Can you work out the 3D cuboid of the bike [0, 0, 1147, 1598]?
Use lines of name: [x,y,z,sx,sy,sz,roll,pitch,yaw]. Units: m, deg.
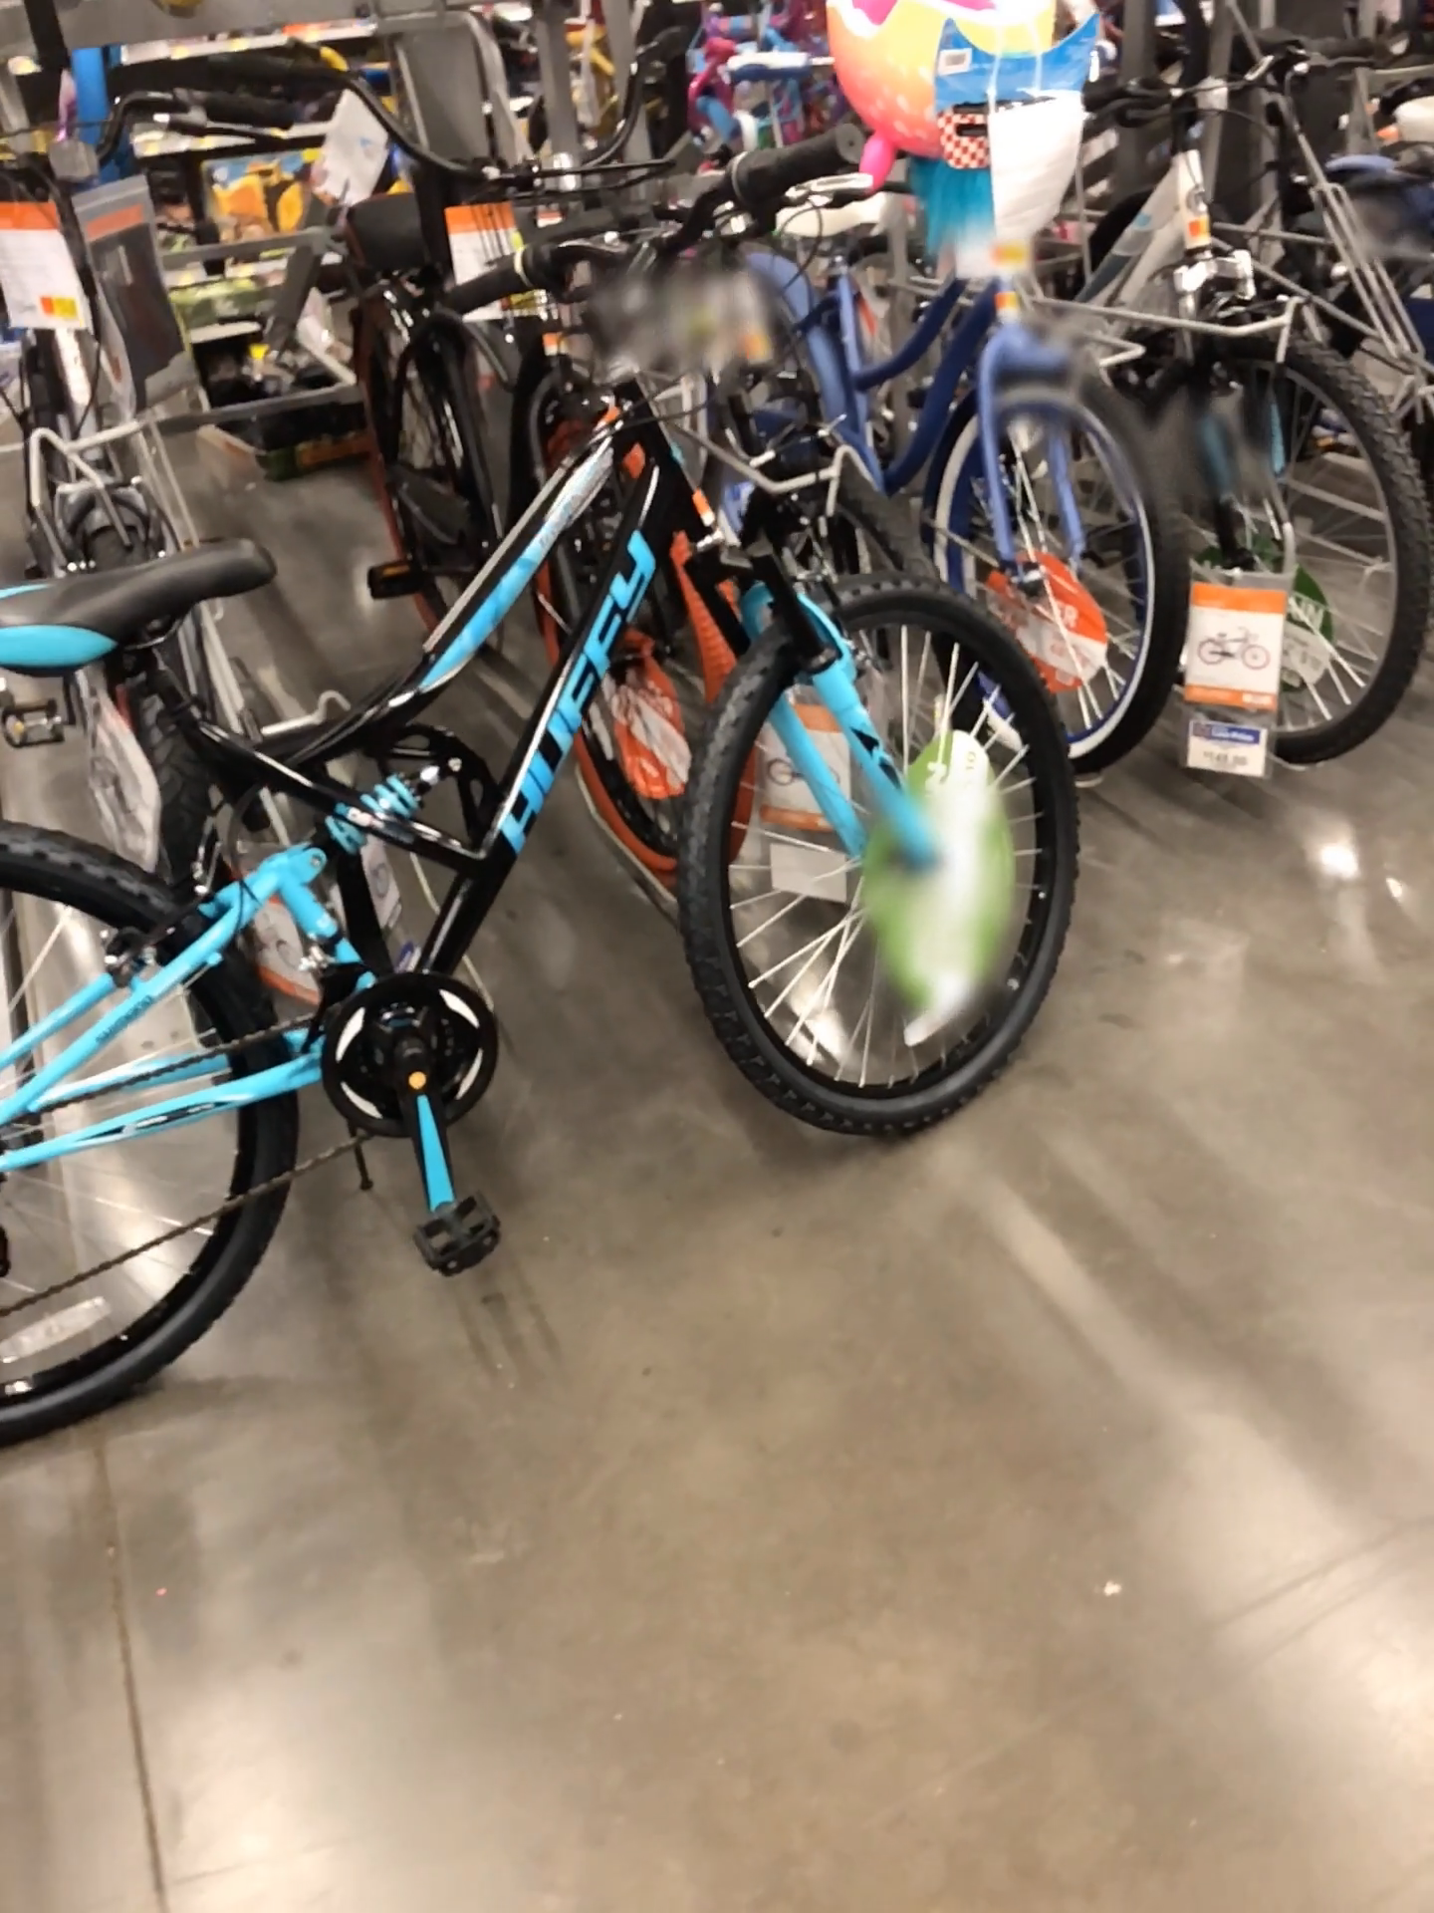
bike: [-0.371,-0.290,1.746,1.707,1.121,0.546,-22,37,-21]
